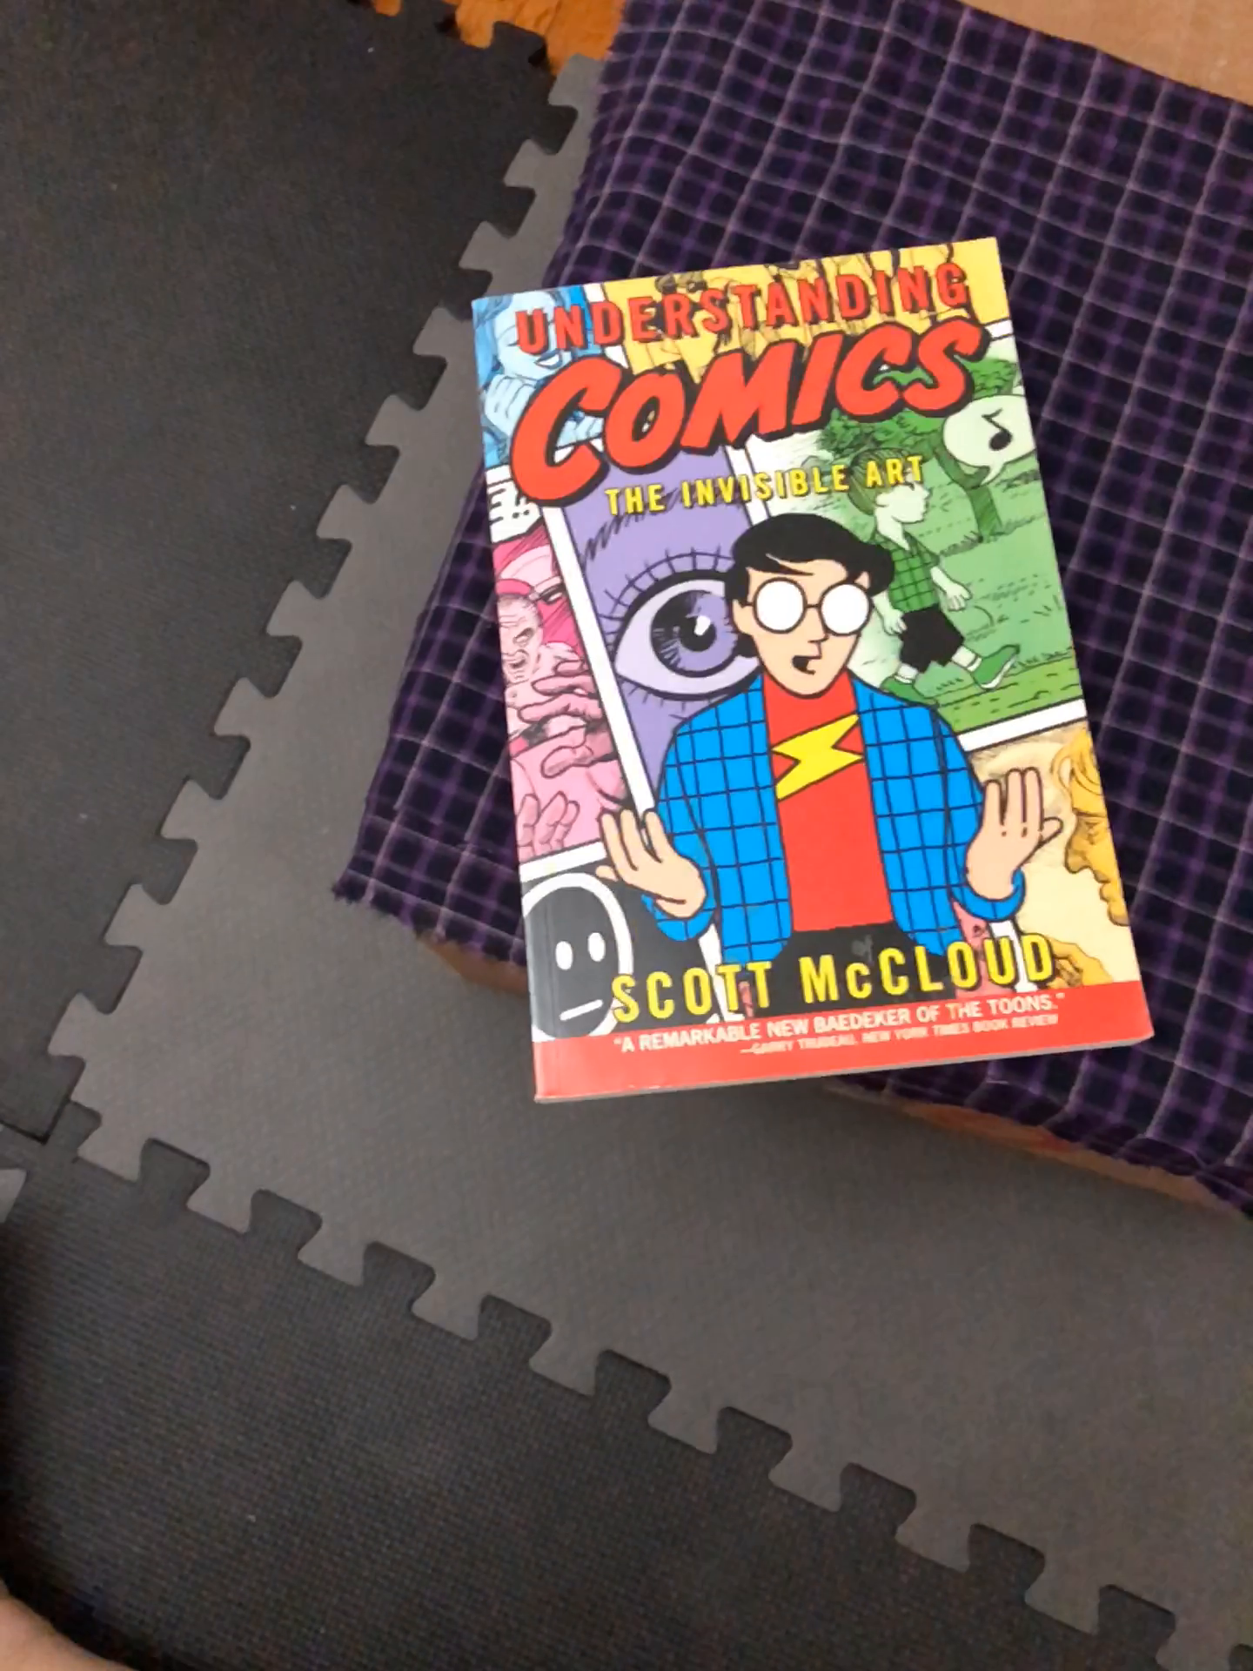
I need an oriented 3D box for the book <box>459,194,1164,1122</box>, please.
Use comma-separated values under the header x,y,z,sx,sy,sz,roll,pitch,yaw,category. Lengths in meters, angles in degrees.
x,y,z,sx,sy,sz,roll,pitch,yaw,category
0.045,-0.061,0.412,0.170,0.020,0.270,-6,75,1,book
